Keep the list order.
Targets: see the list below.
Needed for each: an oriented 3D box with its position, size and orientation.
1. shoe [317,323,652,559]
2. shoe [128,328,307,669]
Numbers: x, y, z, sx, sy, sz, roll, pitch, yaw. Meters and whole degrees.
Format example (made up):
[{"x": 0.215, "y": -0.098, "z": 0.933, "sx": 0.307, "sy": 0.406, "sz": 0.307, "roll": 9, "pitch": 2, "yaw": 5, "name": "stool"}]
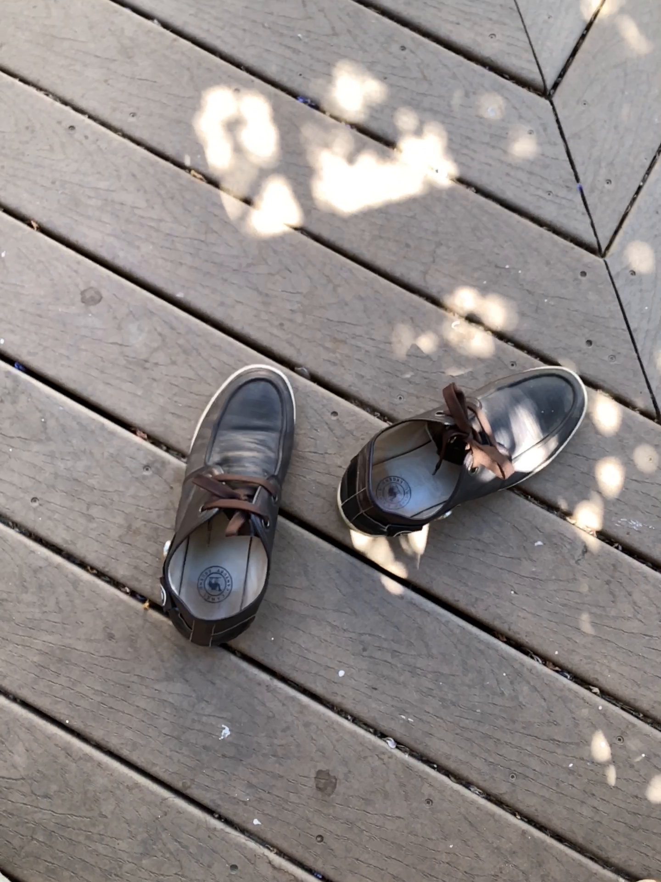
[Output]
[{"x": 0.147, "y": 0.006, "z": 0.752, "sx": 0.303, "sy": 0.121, "sz": 0.108, "roll": -25, "pitch": 82, "yaw": -6, "name": "shoe"}, {"x": -0.103, "y": 0.057, "z": 0.732, "sx": 0.108, "sy": 0.121, "sz": 0.301, "roll": 10, "pitch": 80, "yaw": -1, "name": "shoe"}]
